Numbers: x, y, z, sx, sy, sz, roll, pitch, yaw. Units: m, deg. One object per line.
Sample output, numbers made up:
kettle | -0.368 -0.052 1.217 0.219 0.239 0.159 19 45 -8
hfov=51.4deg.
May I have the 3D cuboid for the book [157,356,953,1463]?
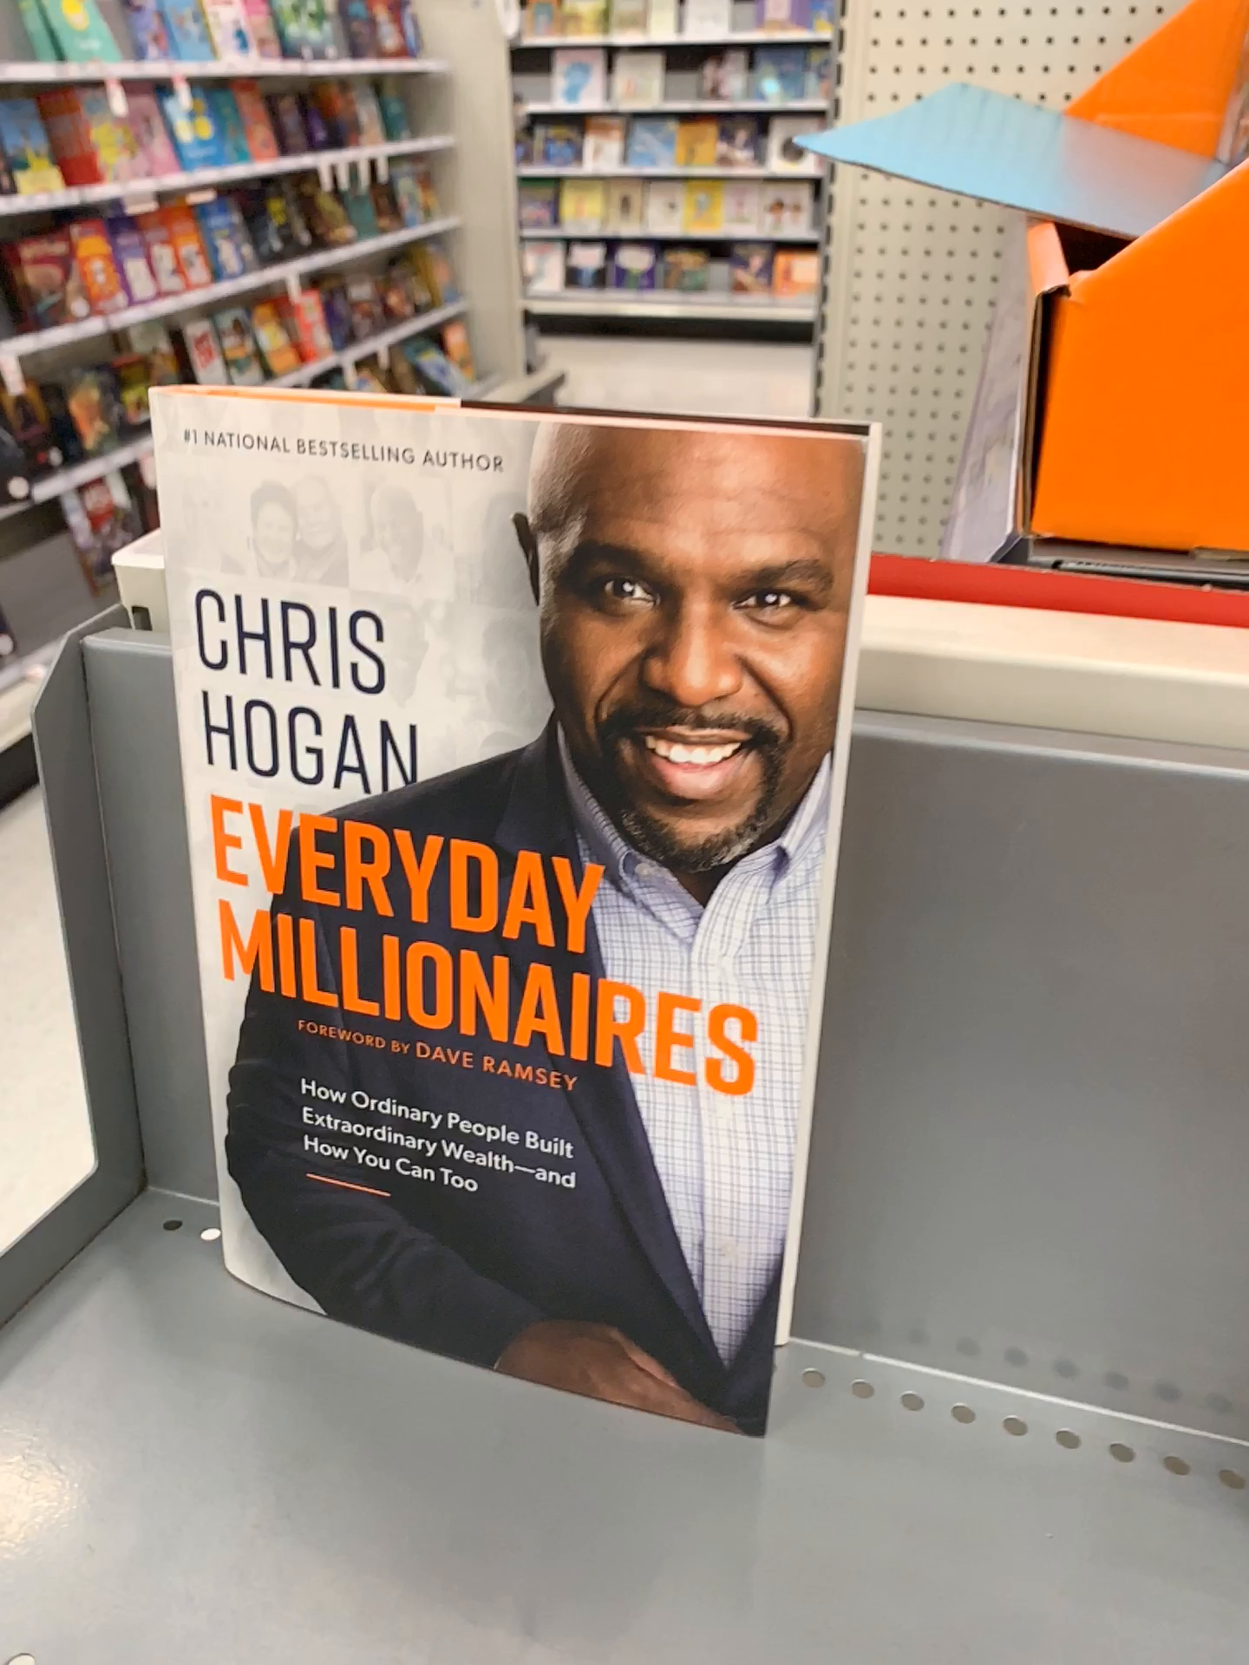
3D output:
book | -0.022 0.020 0.308 0.160 0.241 0.037 10 23 18
